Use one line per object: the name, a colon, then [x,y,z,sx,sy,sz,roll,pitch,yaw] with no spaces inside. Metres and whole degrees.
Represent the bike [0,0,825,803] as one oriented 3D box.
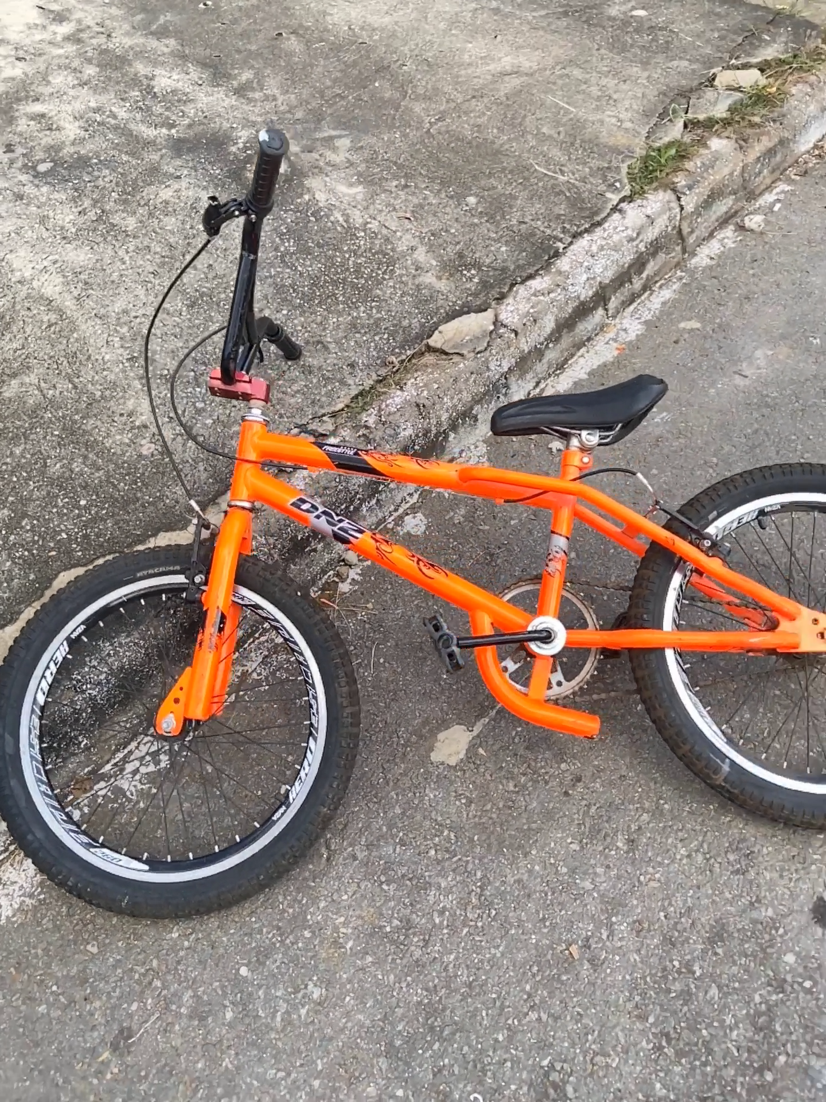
bike: [0.120,-0.220,1.233,1.353,0.857,0.749,-4,48,1]
